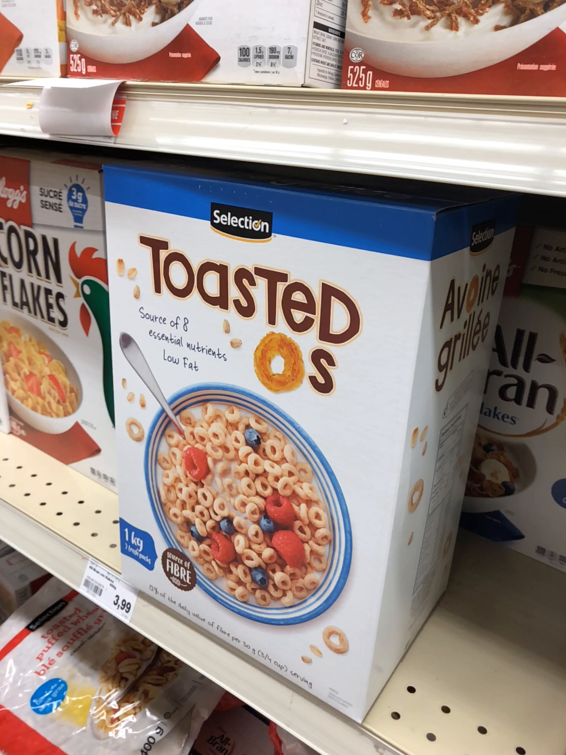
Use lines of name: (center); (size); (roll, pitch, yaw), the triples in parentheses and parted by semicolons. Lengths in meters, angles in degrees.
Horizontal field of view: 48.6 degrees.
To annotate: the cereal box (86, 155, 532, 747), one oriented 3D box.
cereal box: (0.006, 0.025, 0.463); (0.241, 0.338, 0.161); (17, 24, 30)
